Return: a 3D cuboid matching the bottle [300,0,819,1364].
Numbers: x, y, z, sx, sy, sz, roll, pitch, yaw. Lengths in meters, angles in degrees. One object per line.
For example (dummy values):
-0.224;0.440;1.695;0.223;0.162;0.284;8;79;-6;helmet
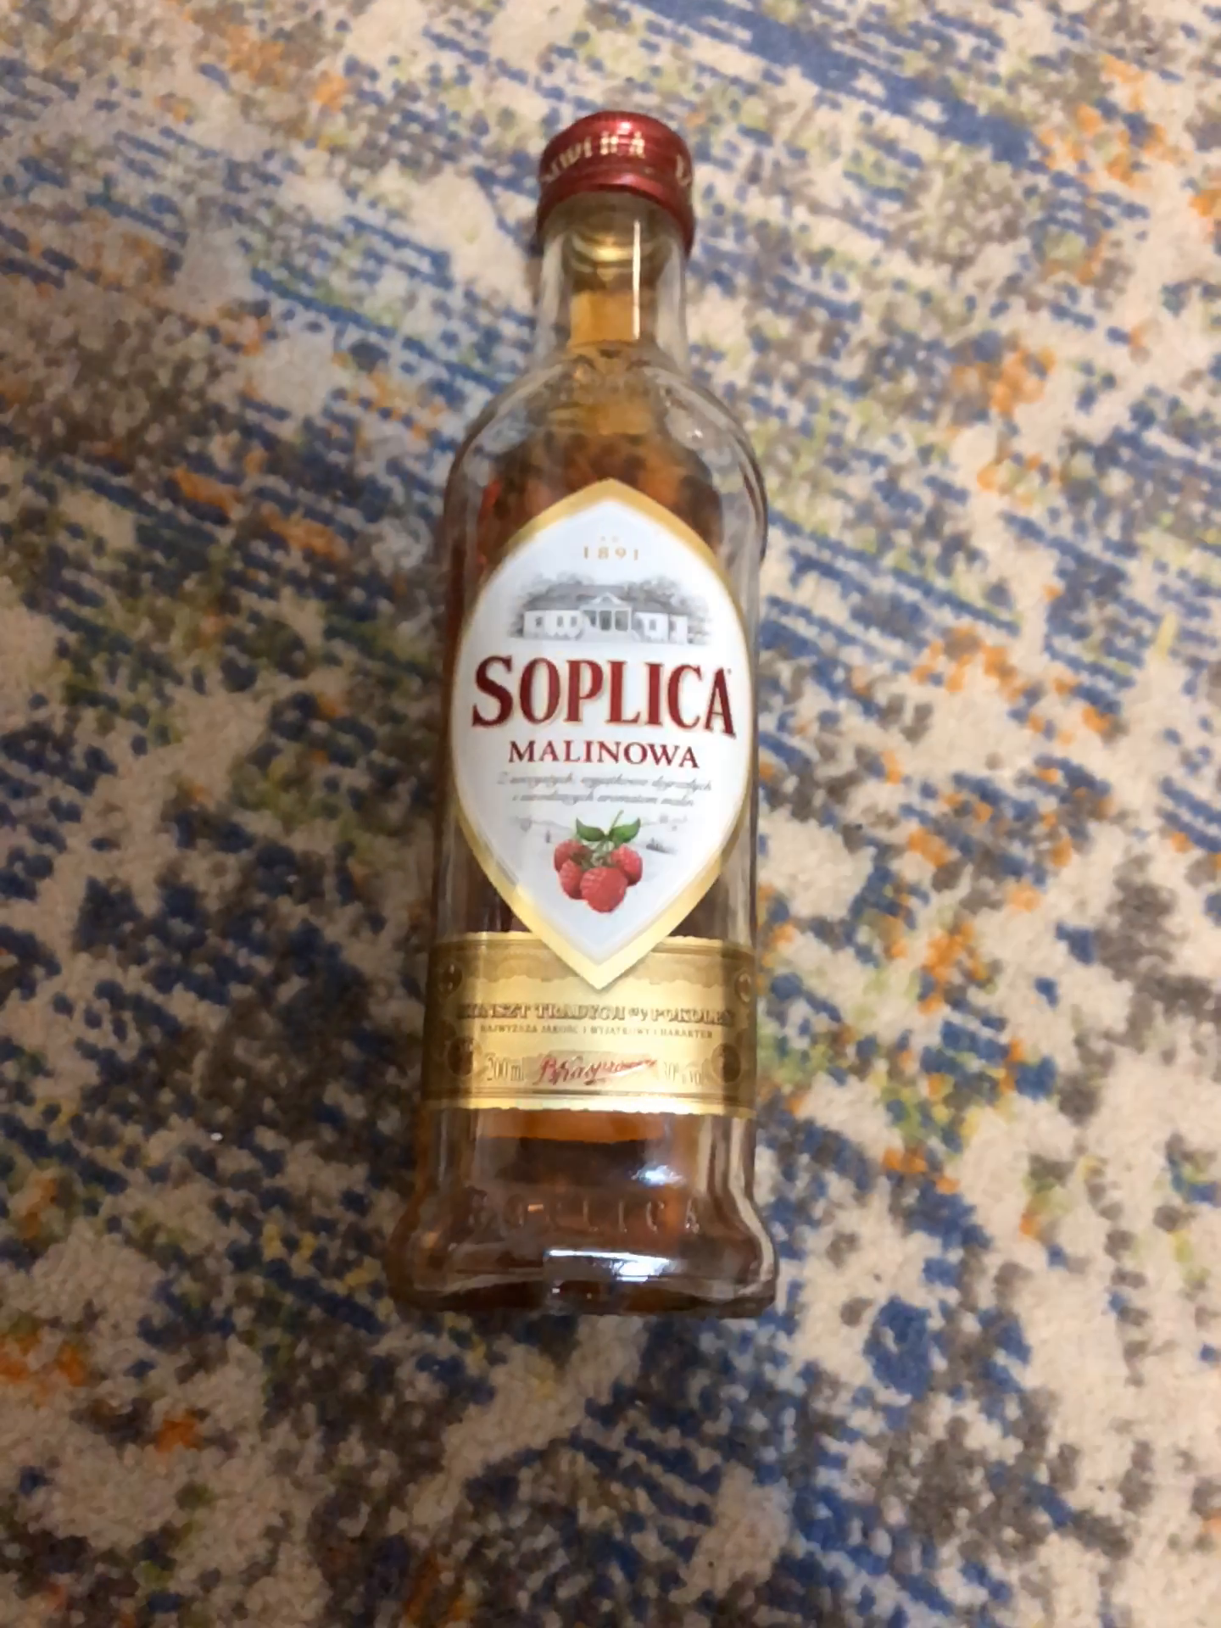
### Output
-0.004;-0.031;0.210;0.060;0.040;0.210;2;72;-2;bottle
